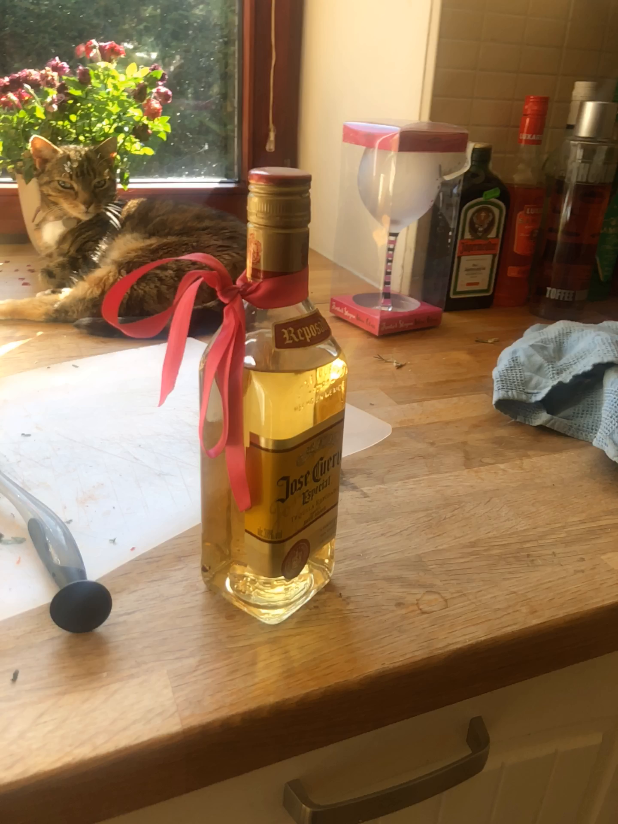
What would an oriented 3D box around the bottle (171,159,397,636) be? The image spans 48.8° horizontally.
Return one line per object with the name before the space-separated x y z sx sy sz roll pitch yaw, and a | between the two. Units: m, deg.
bottle | -0.015 -0.008 0.362 0.070 0.228 0.081 19 29 31
